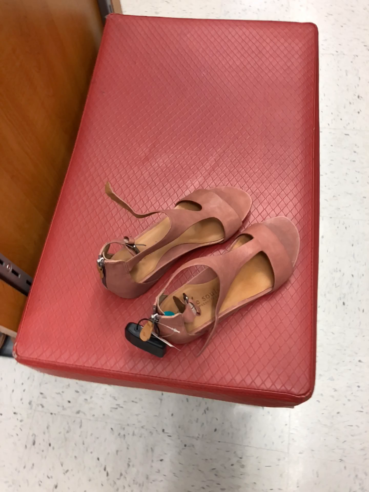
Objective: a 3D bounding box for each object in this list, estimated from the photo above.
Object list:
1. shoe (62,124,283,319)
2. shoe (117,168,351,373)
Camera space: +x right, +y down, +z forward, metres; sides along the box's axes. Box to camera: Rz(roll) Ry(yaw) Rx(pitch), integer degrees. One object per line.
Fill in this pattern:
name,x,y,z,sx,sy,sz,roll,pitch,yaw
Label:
shoe,-0.011,-0.031,0.558,0.261,0.116,0.106,-33,69,-12
shoe,0.062,0.035,0.530,0.263,0.126,0.103,-33,69,-12
